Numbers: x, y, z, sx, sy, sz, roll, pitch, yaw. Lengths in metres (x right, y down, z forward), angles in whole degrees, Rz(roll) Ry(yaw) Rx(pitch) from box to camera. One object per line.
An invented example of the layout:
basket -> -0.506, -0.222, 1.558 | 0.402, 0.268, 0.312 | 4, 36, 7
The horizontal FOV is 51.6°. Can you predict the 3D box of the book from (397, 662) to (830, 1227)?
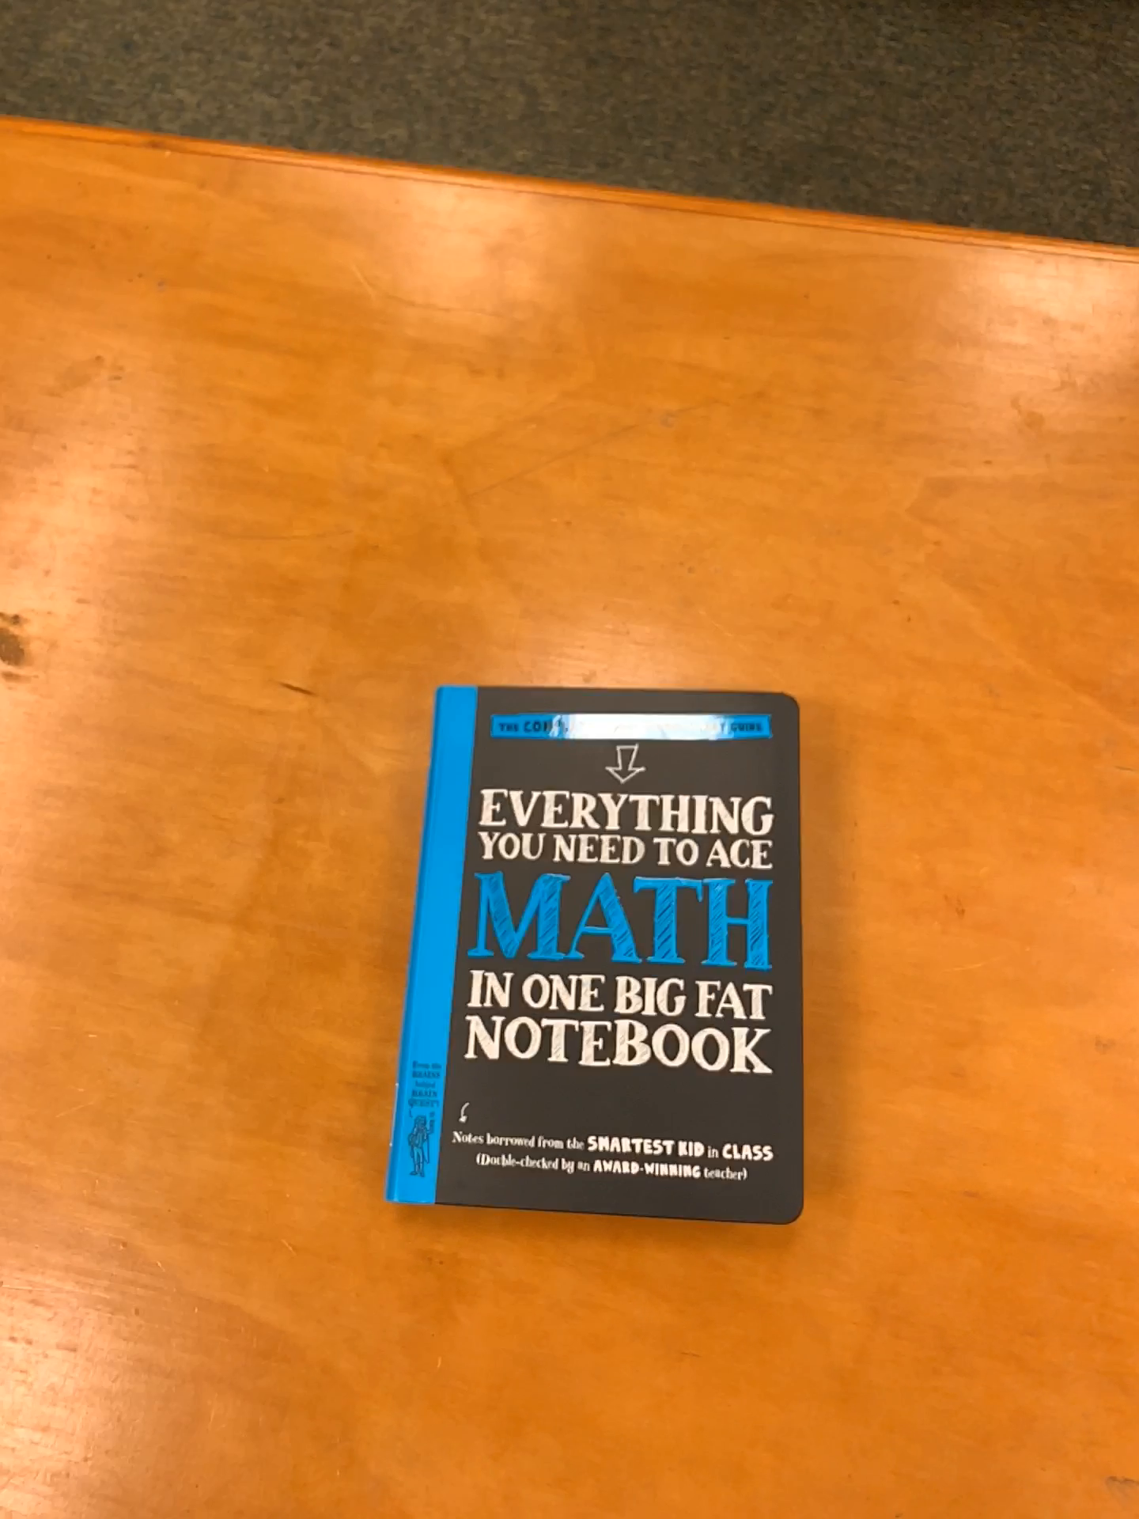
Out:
book -> 0.022, 0.071, 0.478 | 0.157, 0.050, 0.208 | 3, 76, 3
